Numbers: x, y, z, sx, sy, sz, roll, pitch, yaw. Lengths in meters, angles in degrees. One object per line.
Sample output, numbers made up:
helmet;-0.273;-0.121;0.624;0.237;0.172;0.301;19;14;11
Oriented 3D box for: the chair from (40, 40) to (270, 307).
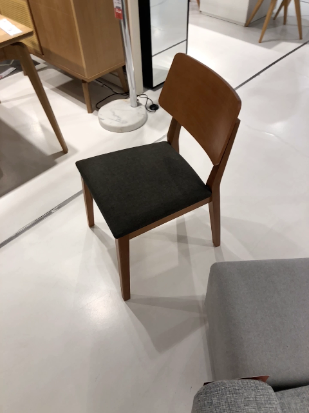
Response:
chair;-0.014;-0.117;1.398;0.581;0.804;0.533;-20;49;-15
